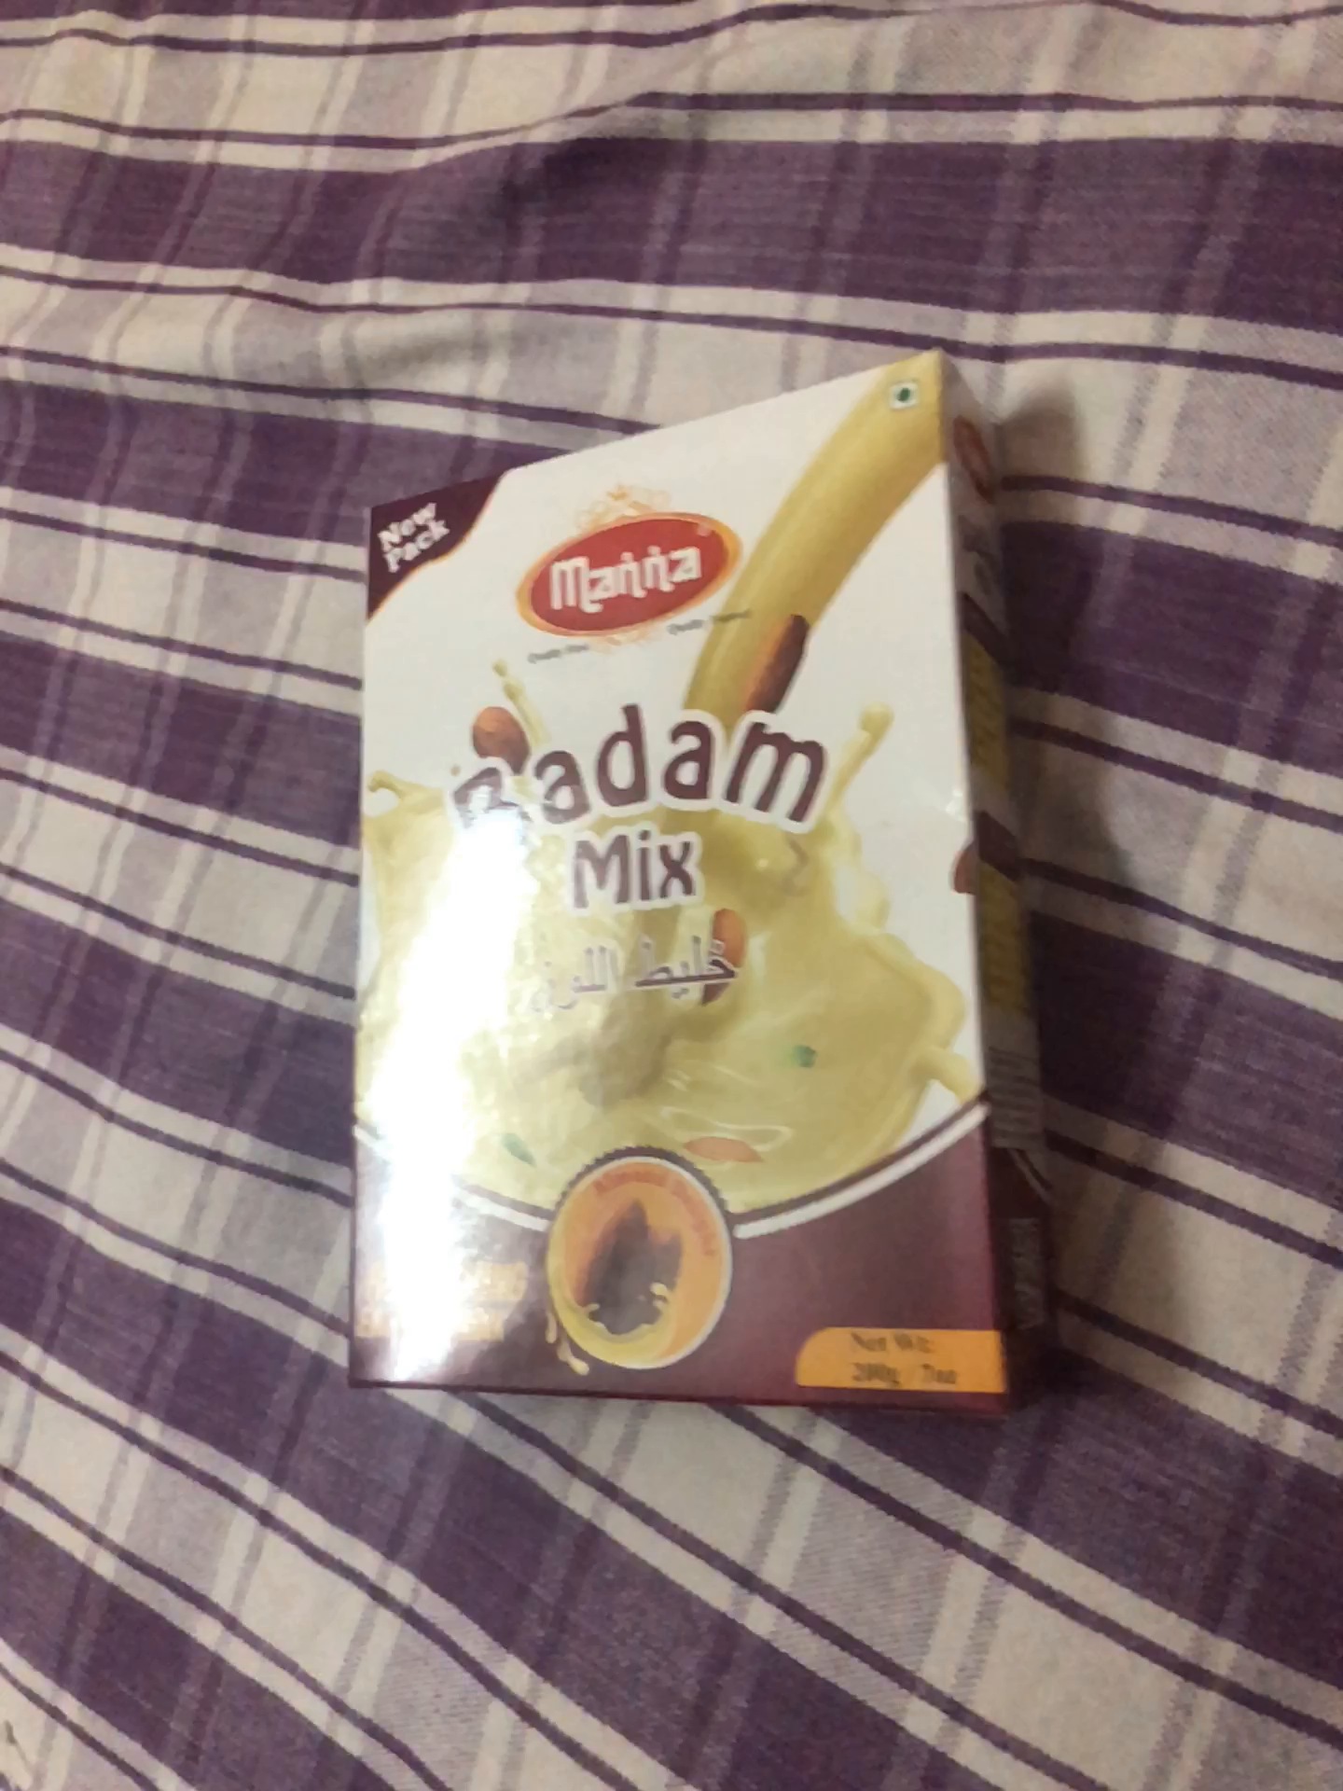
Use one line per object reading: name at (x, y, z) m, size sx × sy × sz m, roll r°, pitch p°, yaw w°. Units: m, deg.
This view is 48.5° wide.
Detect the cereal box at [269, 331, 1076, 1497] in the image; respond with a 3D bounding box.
cereal box at (-0.001, 0.006, 0.275) m, size 0.130 × 0.050 × 0.180 m, roll -6°, pitch 77°, yaw 25°
